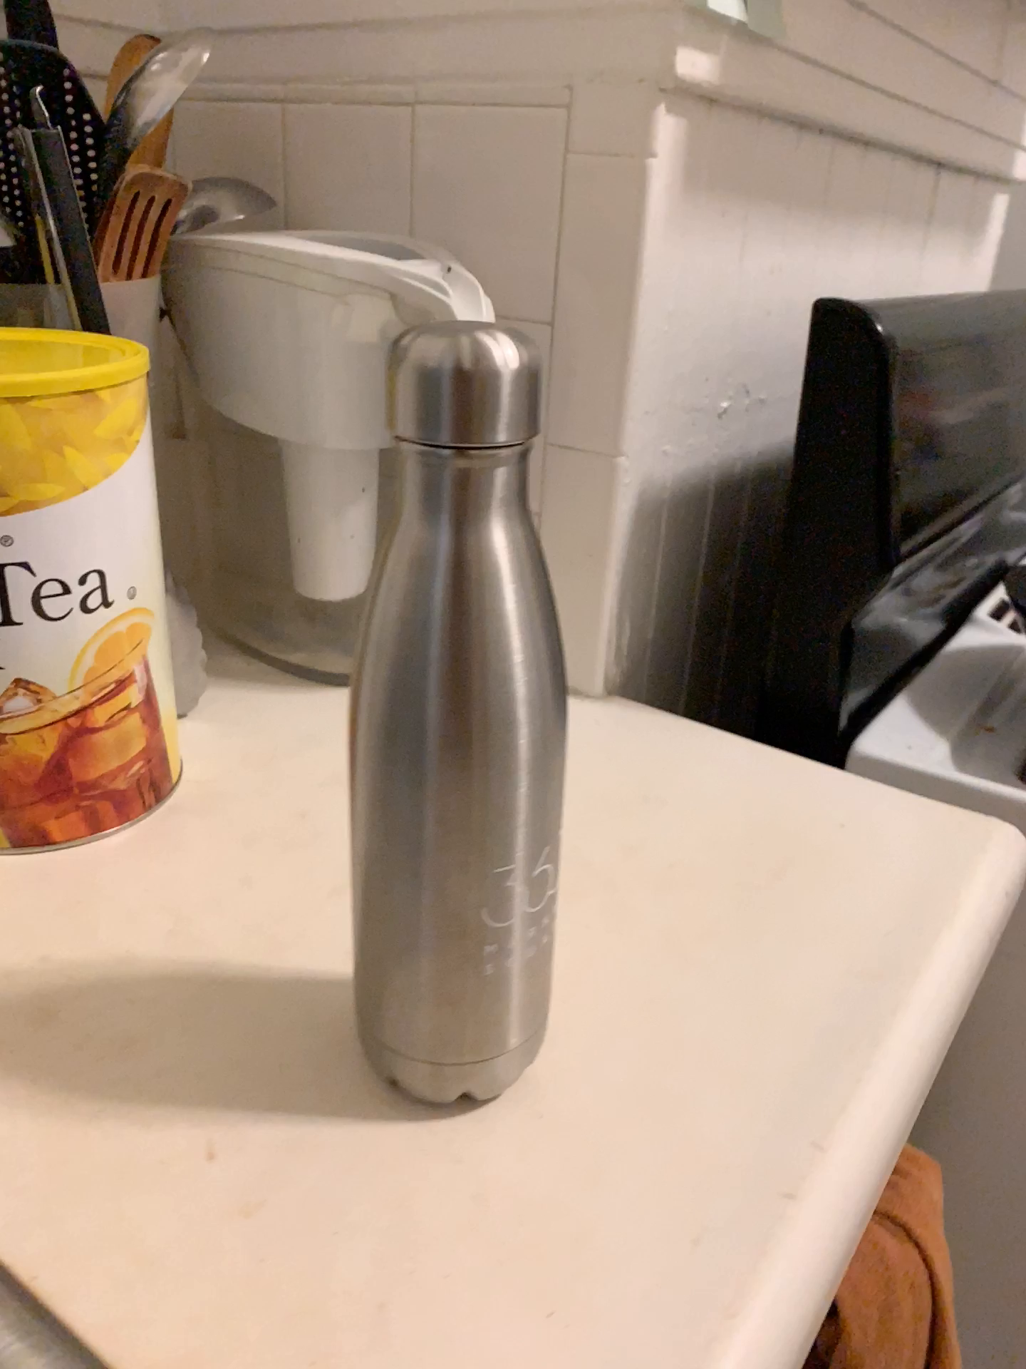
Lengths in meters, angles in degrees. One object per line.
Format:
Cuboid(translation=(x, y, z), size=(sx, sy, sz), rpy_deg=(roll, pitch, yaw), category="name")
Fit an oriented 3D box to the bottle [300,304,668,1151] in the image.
Cuboid(translation=(-0.014, 0.016, 0.336), size=(0.070, 0.249, 0.070), rpy_deg=(3, 24, -1), category="bottle")
